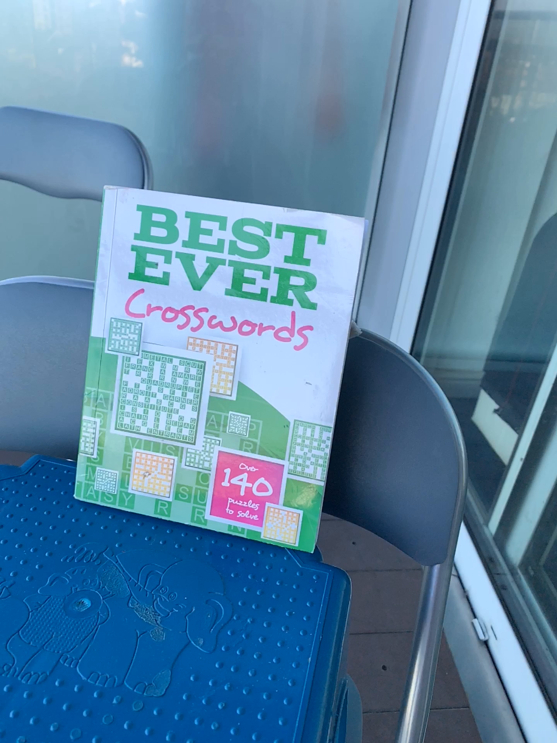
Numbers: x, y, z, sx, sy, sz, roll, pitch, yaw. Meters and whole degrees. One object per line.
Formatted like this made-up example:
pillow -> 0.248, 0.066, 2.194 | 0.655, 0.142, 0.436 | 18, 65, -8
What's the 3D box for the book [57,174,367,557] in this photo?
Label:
book -> -0.043, -0.004, 0.343 | 0.157, 0.196, 0.030 | 10, 10, 8
